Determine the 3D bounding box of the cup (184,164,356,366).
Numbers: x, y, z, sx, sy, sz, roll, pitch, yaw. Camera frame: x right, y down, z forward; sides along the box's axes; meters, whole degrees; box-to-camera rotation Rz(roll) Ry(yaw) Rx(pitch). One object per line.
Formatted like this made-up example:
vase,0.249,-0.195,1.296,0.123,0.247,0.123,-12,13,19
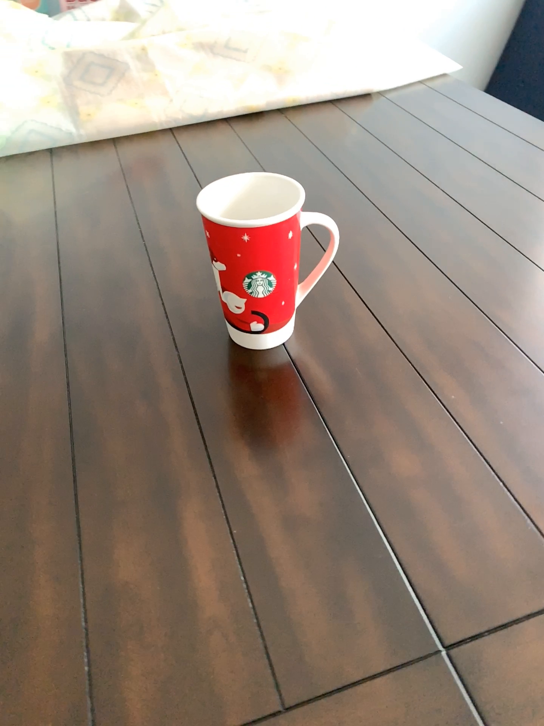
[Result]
cup,-0.003,-0.093,0.531,0.130,0.139,0.101,-11,43,-8
